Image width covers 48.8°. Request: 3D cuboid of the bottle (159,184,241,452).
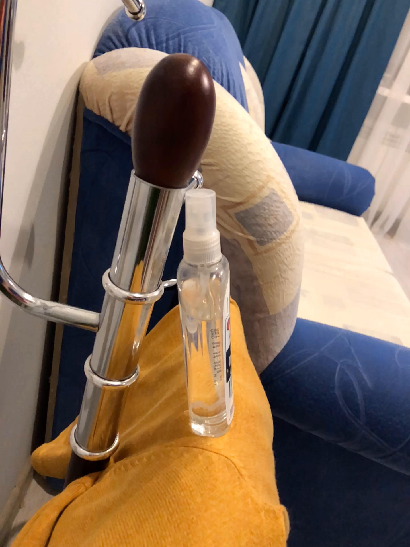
[{"bbox_3d":[0.002,0.030,0.276,0.030,0.157,0.051,1,26,11],"label":"bottle"}]
